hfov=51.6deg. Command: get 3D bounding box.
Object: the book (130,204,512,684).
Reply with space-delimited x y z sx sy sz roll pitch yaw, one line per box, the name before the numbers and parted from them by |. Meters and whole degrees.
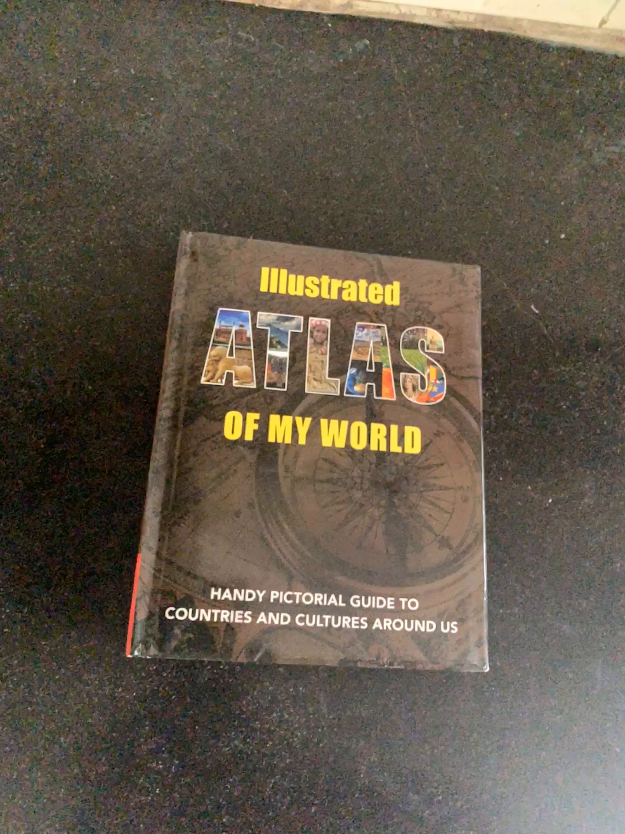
book | 0.011 0.011 0.392 0.200 0.040 0.271 5 73 -7
